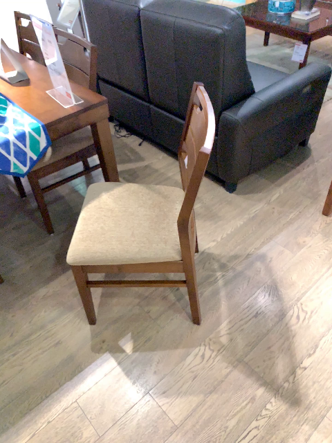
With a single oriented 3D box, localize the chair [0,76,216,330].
[{"bbox_3d":[-0.116,-0.024,1.273,0.530,0.827,0.472,0,44,4],"label":"chair"}]
